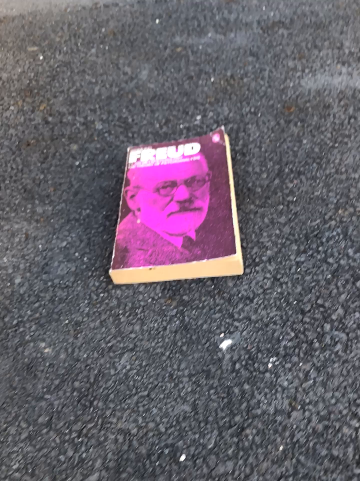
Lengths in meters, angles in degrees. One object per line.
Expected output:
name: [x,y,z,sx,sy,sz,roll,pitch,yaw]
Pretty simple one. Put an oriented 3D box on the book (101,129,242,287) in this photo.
book: [-0.005,-0.044,0.443,0.131,0.031,0.195,-6,49,9]
